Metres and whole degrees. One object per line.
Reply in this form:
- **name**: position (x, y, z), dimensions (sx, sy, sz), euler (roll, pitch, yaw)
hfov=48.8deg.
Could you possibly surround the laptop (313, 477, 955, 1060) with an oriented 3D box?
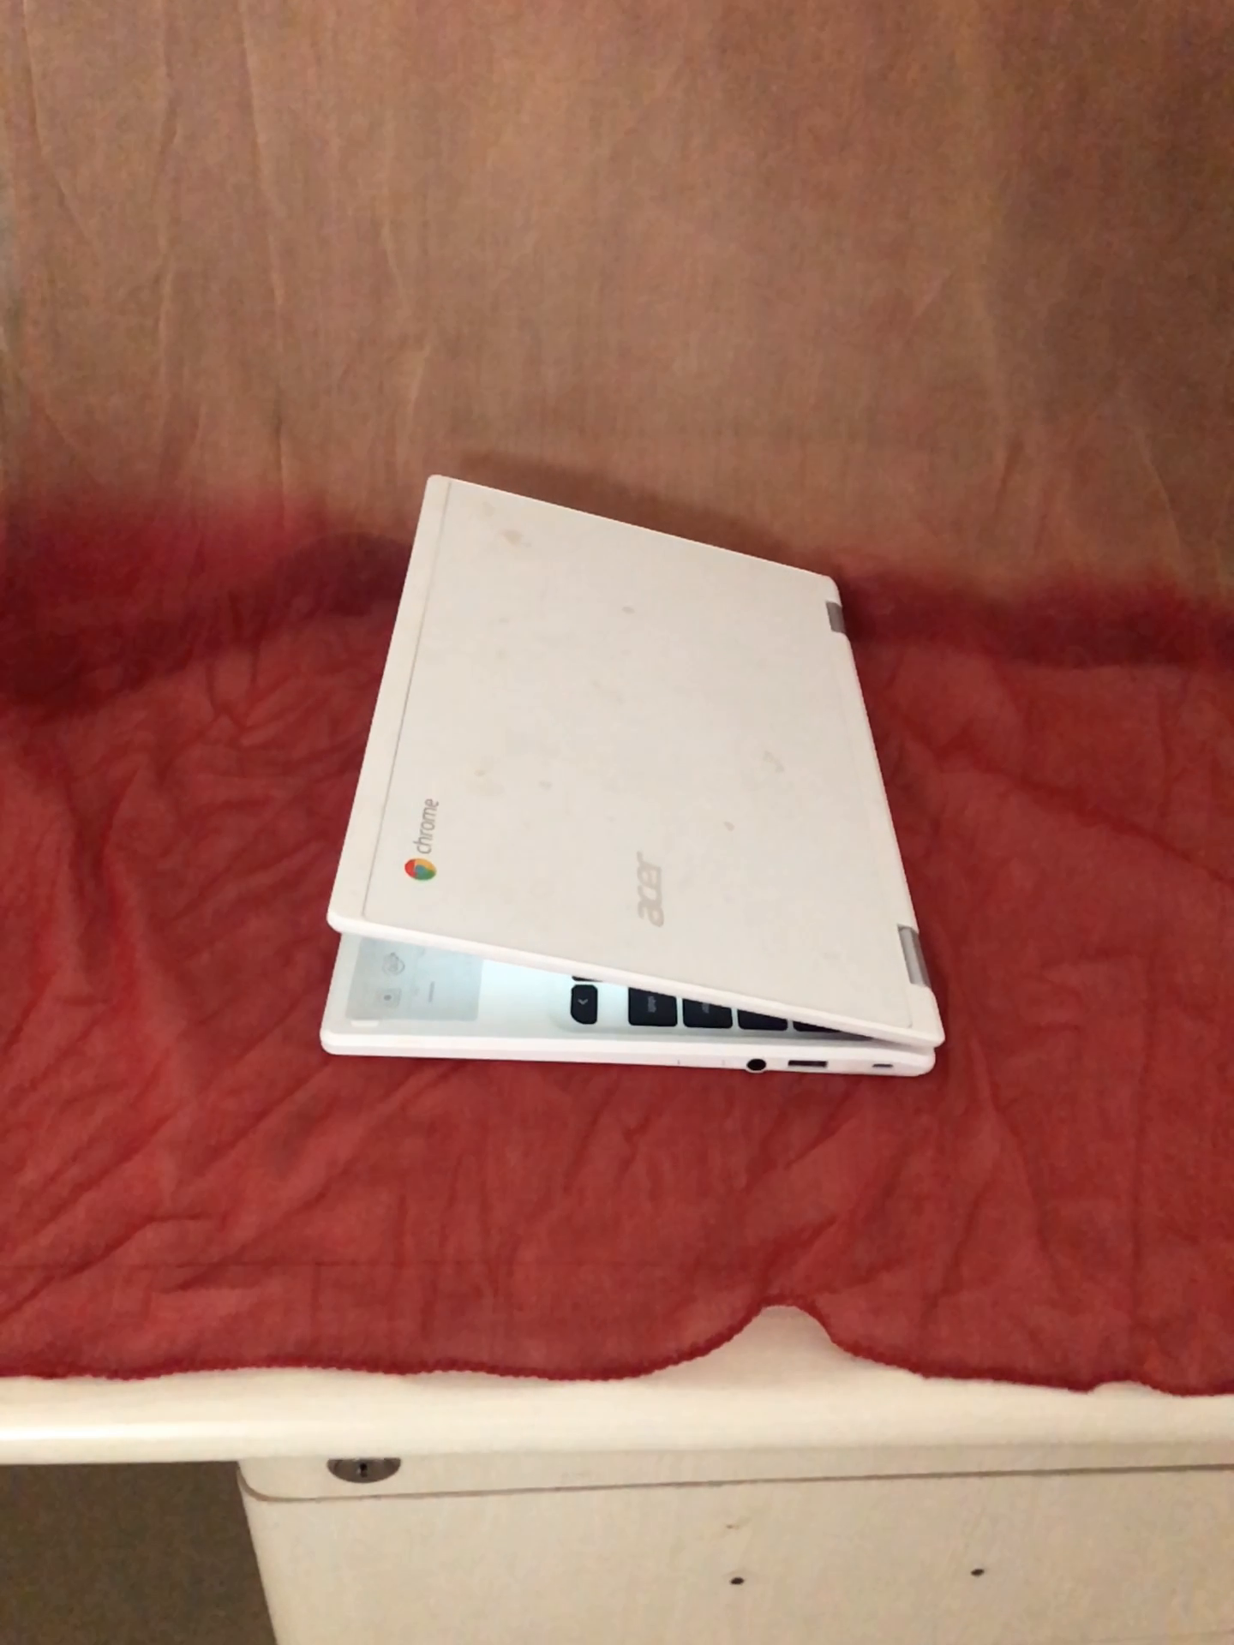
- **laptop**: position (0.007, -0.041, 0.531), dimensions (0.189, 0.055, 0.290), euler (3, 39, -1)
